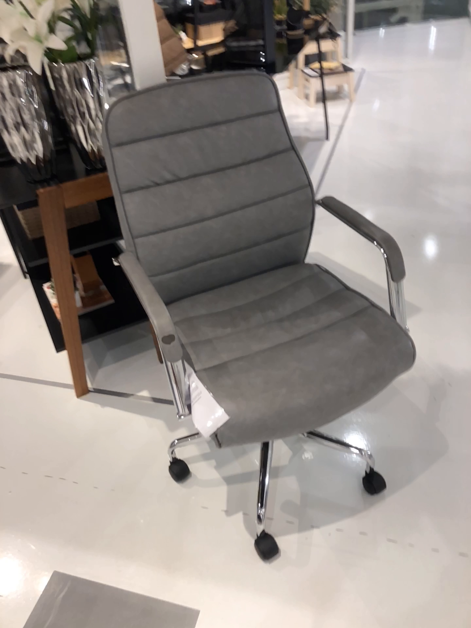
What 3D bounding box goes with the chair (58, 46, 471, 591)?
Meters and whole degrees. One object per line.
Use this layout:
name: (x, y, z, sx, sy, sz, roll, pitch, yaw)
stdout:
chair: (0.070, 0.015, 1.197, 0.601, 0.992, 0.554, -18, 38, -15)
